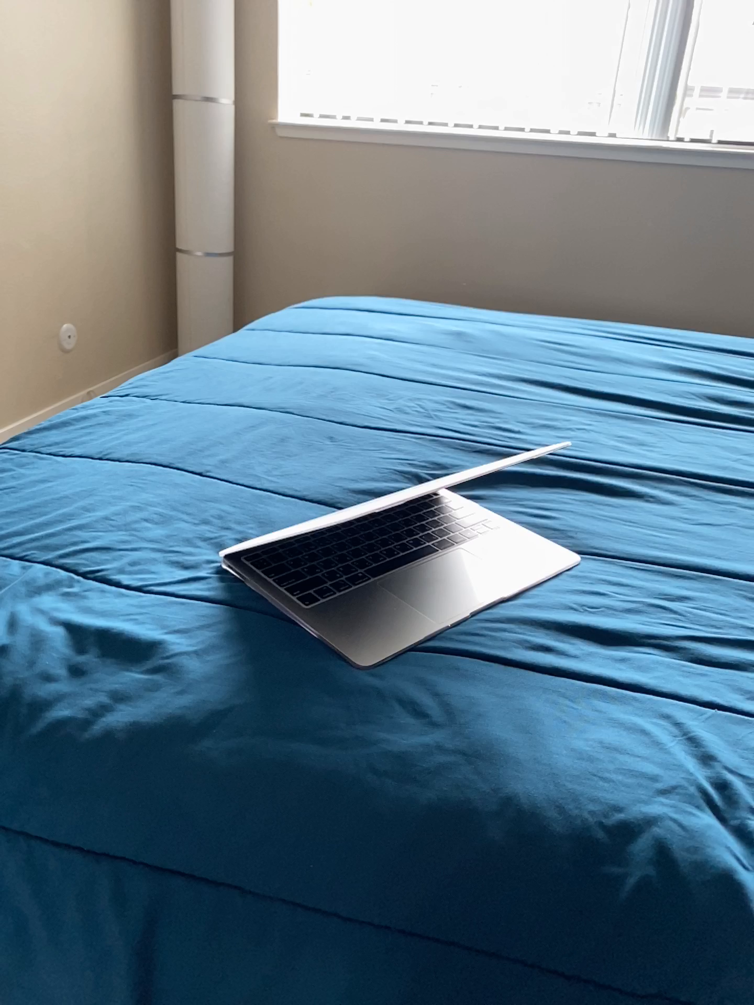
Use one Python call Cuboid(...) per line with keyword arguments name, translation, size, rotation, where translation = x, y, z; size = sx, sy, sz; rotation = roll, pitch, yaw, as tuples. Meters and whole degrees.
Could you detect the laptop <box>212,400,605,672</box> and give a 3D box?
Cuboid(name="laptop", translation=(0.034, 0.008, 0.766), size=(0.311, 0.106, 0.219), rotation=(-19, 36, -39))
